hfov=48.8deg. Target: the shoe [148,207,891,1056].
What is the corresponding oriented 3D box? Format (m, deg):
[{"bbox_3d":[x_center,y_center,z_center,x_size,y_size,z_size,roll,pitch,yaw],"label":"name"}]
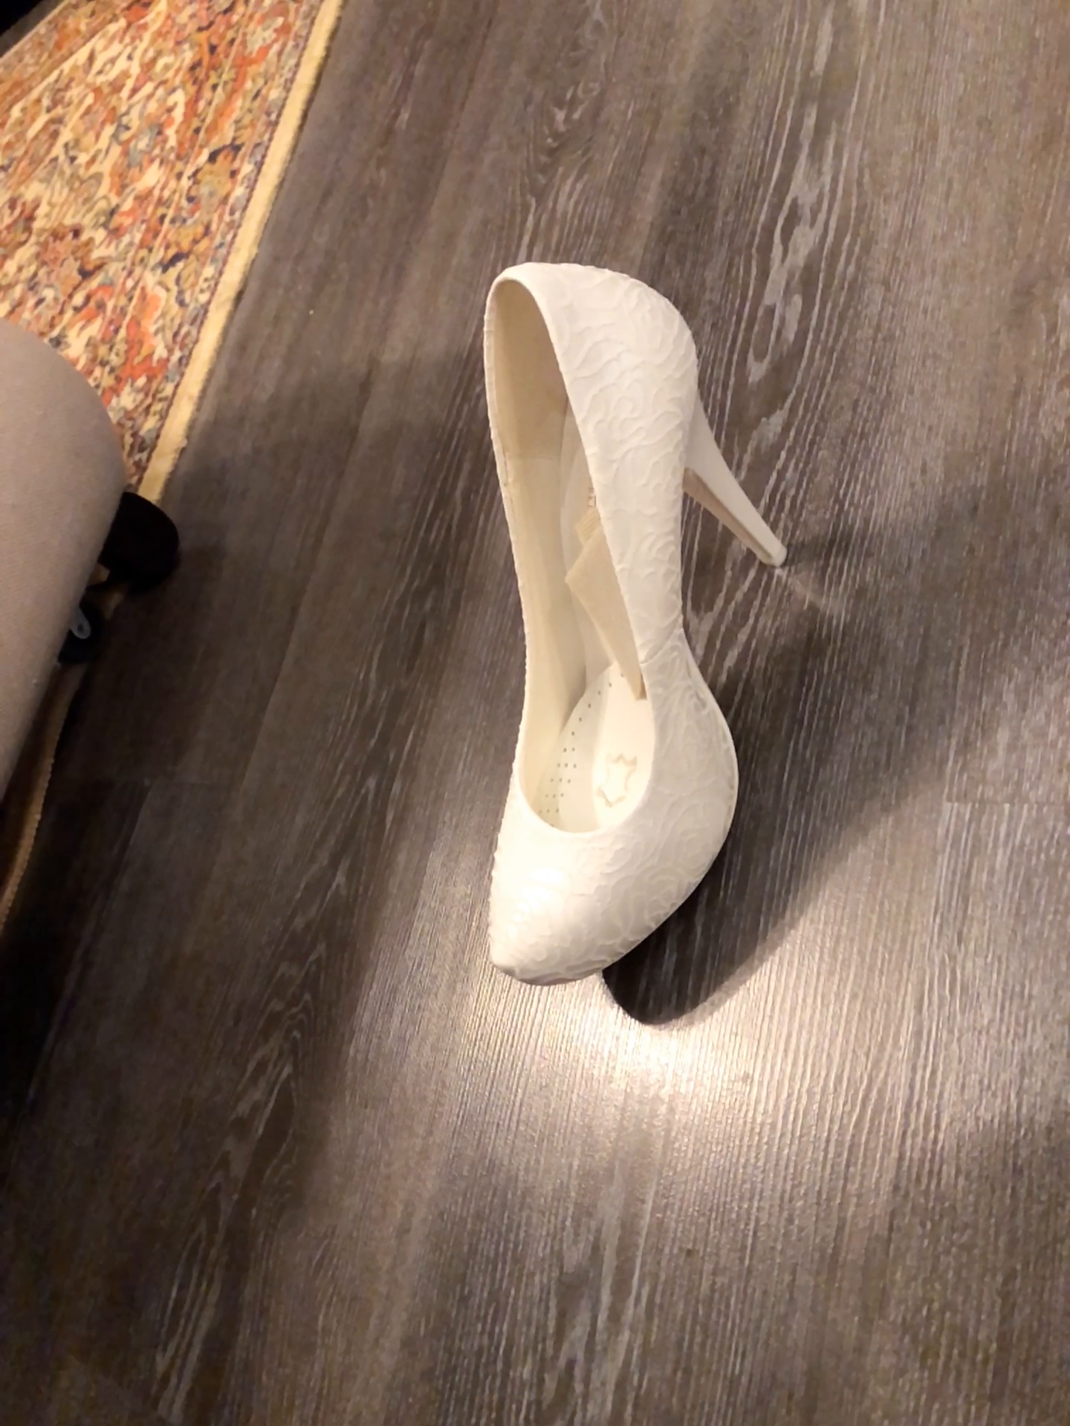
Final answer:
[{"bbox_3d":[0.005,-0.020,0.382,0.090,0.149,0.210,17,79,47],"label":"shoe"}]
